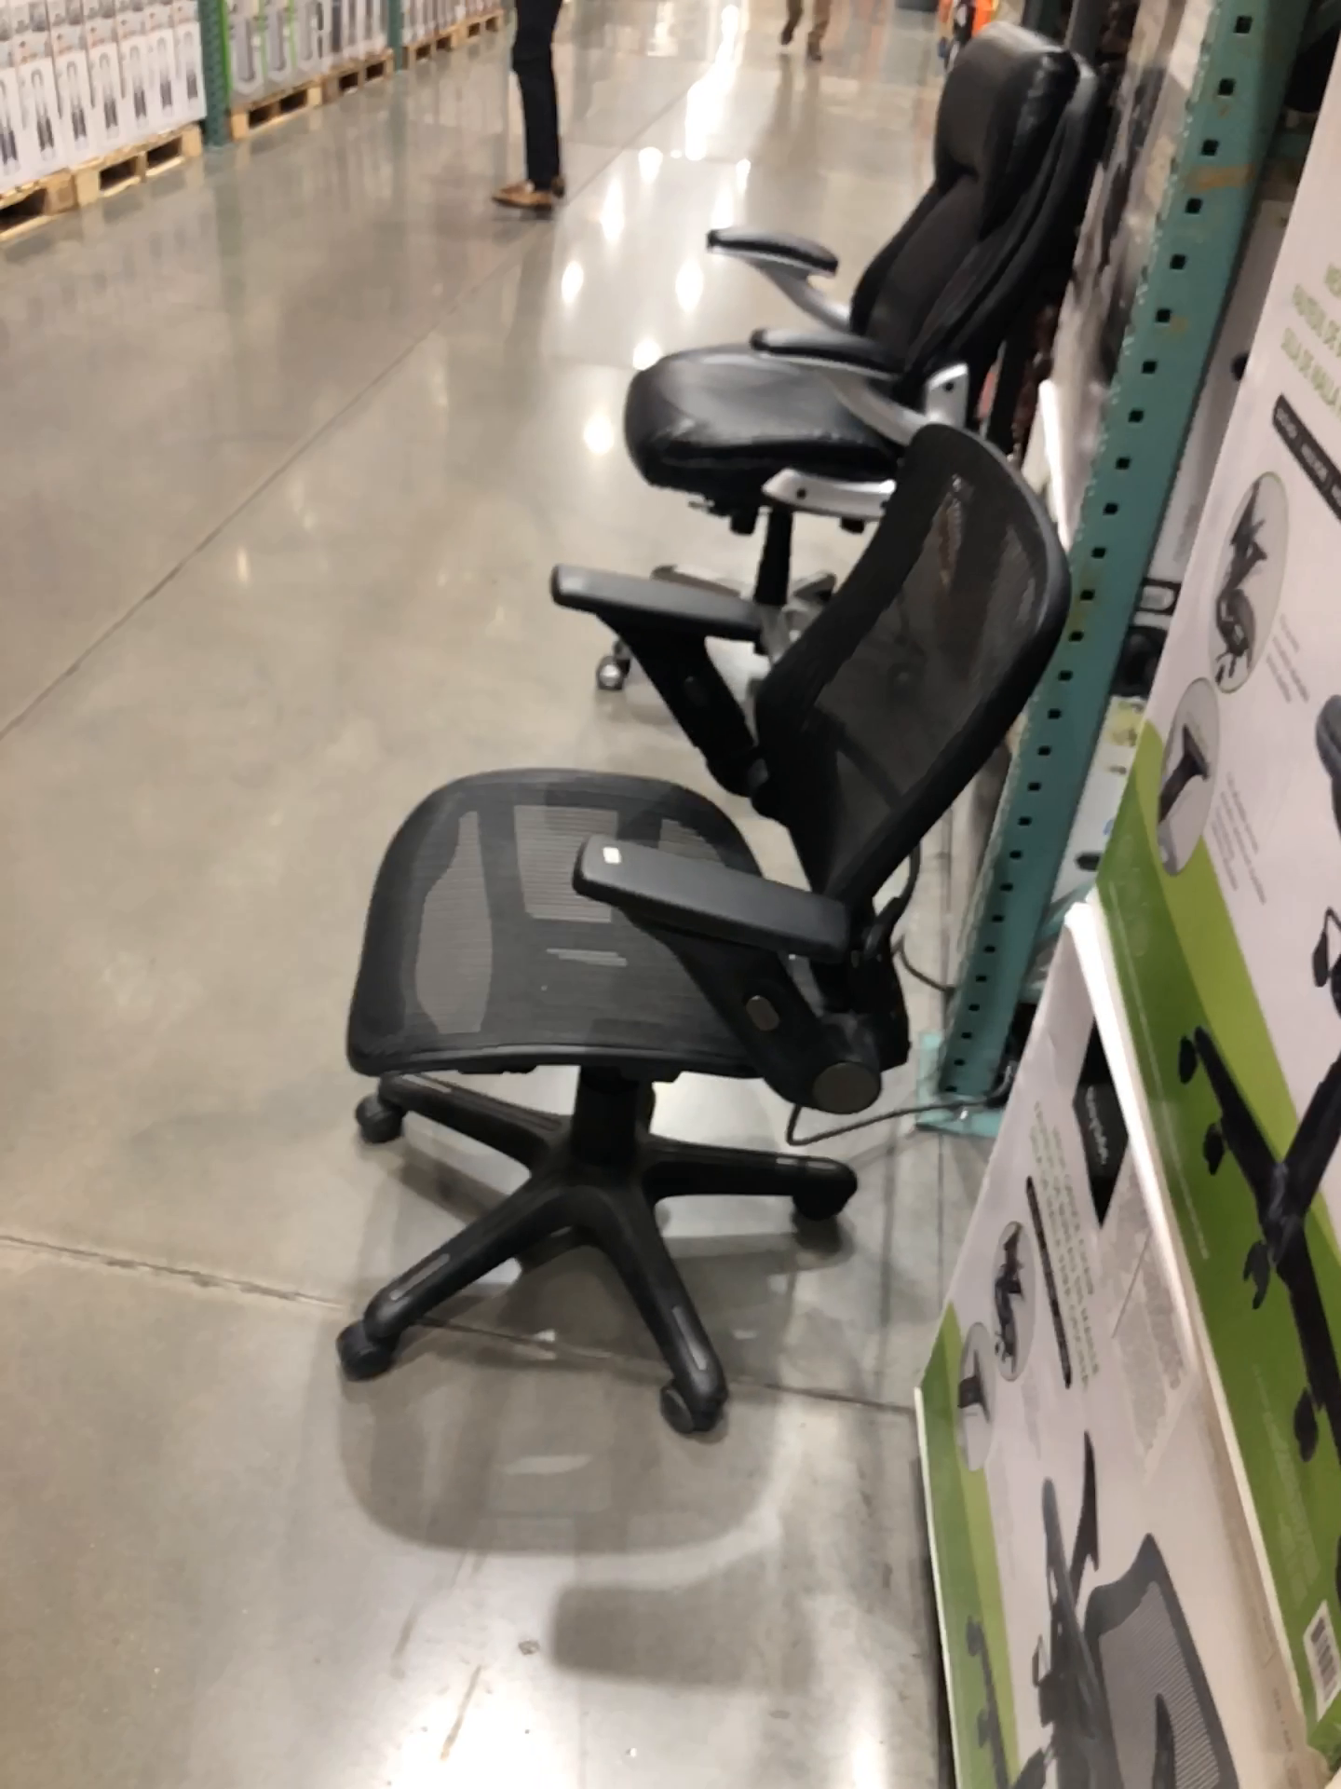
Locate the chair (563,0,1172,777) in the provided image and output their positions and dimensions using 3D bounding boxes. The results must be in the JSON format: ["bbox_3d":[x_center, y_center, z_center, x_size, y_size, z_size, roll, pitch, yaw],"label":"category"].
[{"bbox_3d":[0.253,-0.975,2.748,0.798,1.145,0.909,4,36,-3],"label":"chair"}]

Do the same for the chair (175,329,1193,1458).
[{"bbox_3d":[-0.031,0.013,1.538,0.698,0.936,0.637,3,36,-4],"label":"chair"}]
